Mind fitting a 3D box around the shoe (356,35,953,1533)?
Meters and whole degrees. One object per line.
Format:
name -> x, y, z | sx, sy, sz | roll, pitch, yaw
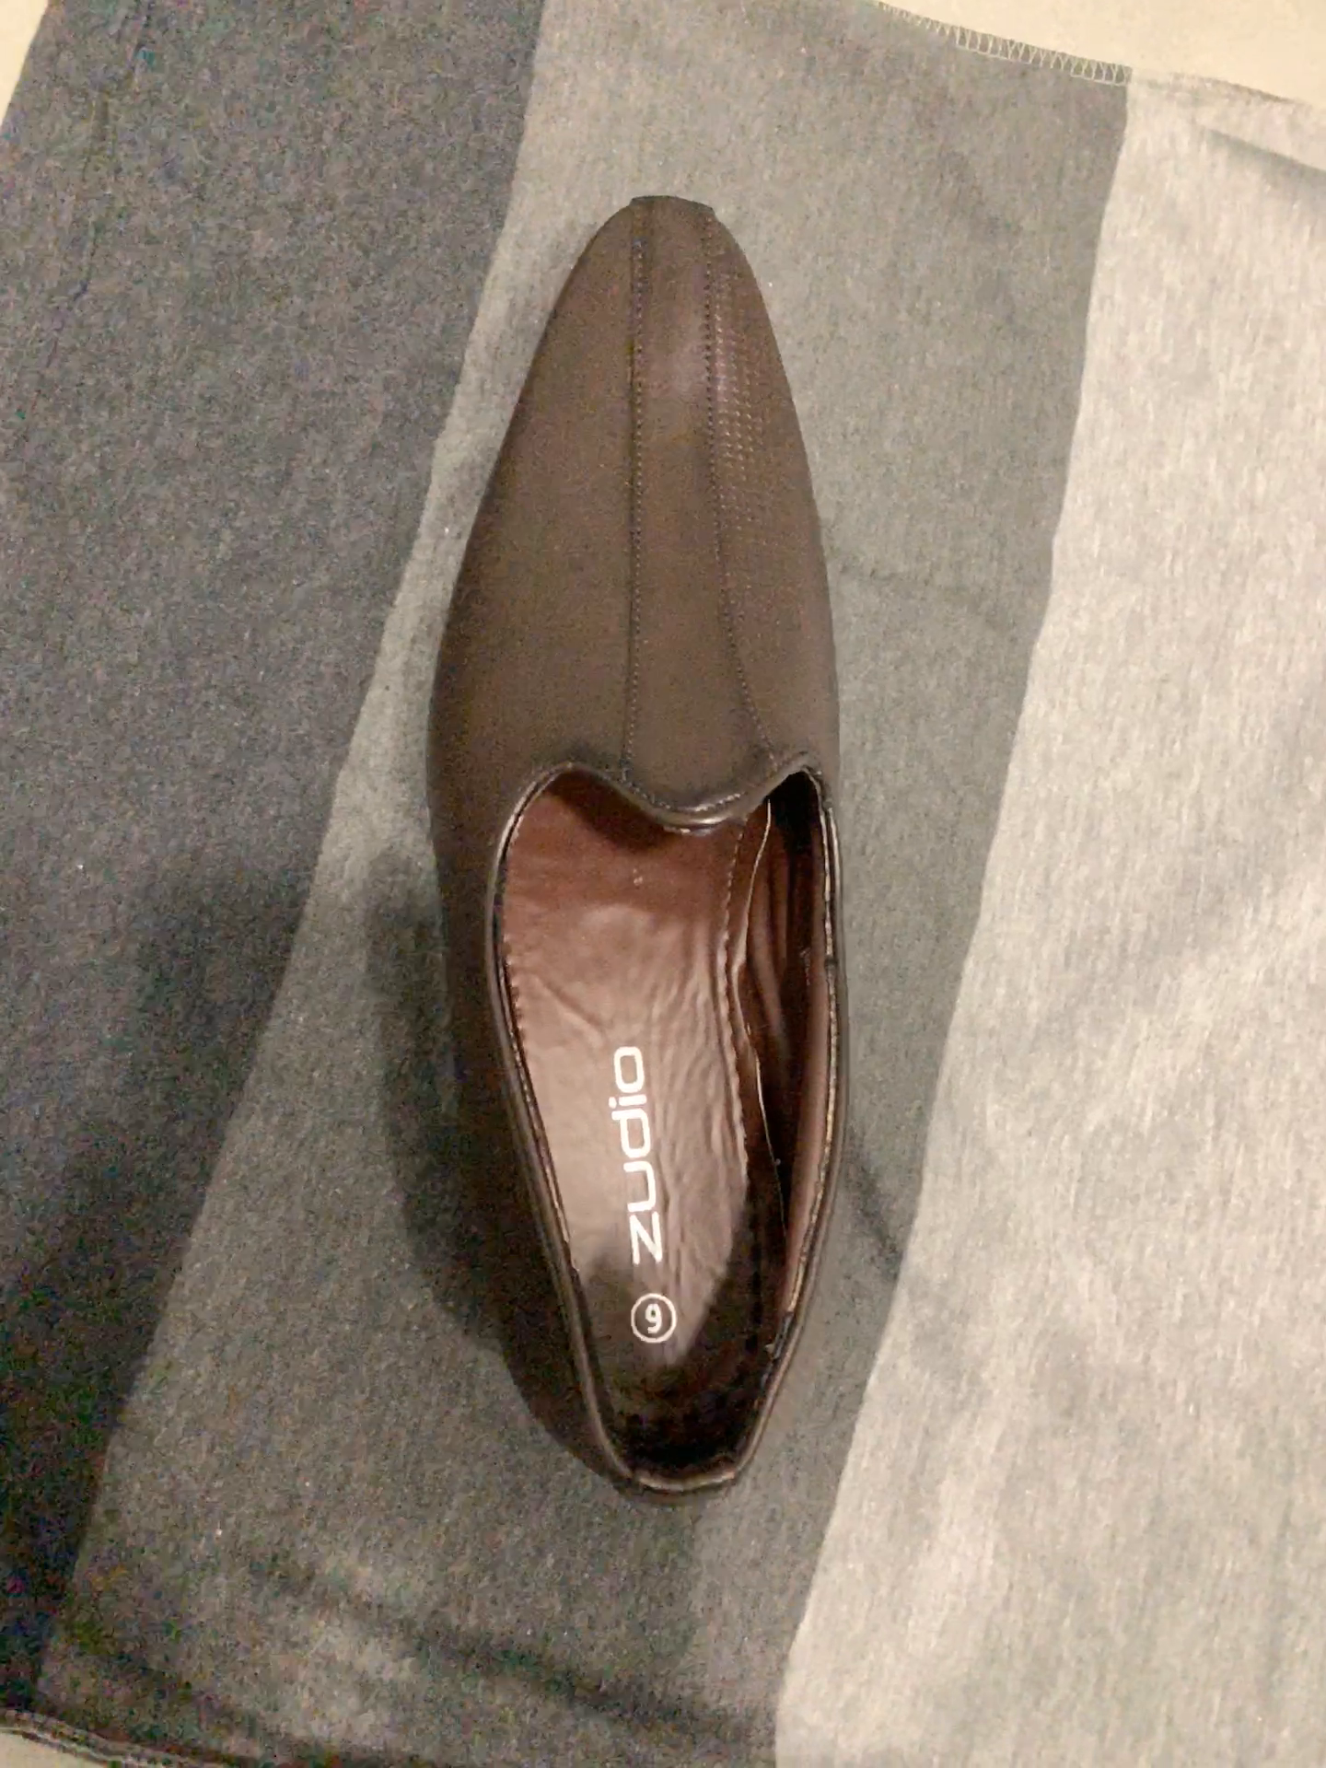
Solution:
shoe -> -0.006, -0.021, 0.294 | 0.100, 0.100, 0.270 | 0, 82, -5
